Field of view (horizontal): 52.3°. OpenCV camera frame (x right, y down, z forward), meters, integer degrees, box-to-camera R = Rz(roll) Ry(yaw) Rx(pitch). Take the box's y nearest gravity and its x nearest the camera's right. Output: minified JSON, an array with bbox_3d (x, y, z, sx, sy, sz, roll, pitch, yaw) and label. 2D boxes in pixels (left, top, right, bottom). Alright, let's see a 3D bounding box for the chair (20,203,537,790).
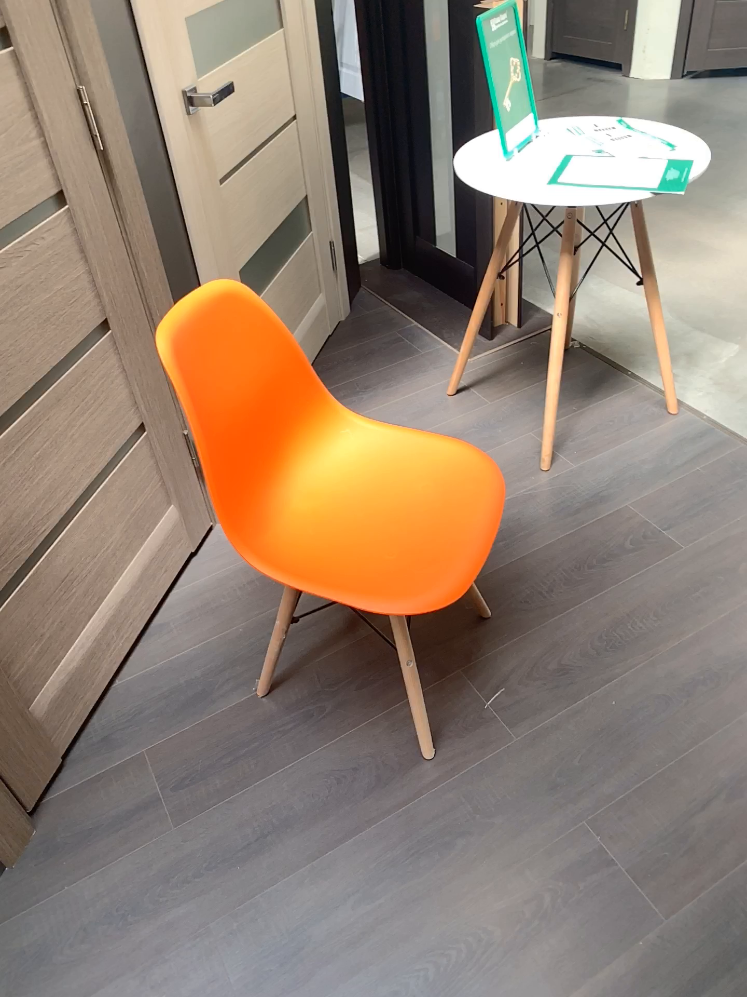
[{"bbox_3d":[-0.059,-0.018,1.248,0.521,0.717,0.532,9,43,19],"label":"chair"}]
